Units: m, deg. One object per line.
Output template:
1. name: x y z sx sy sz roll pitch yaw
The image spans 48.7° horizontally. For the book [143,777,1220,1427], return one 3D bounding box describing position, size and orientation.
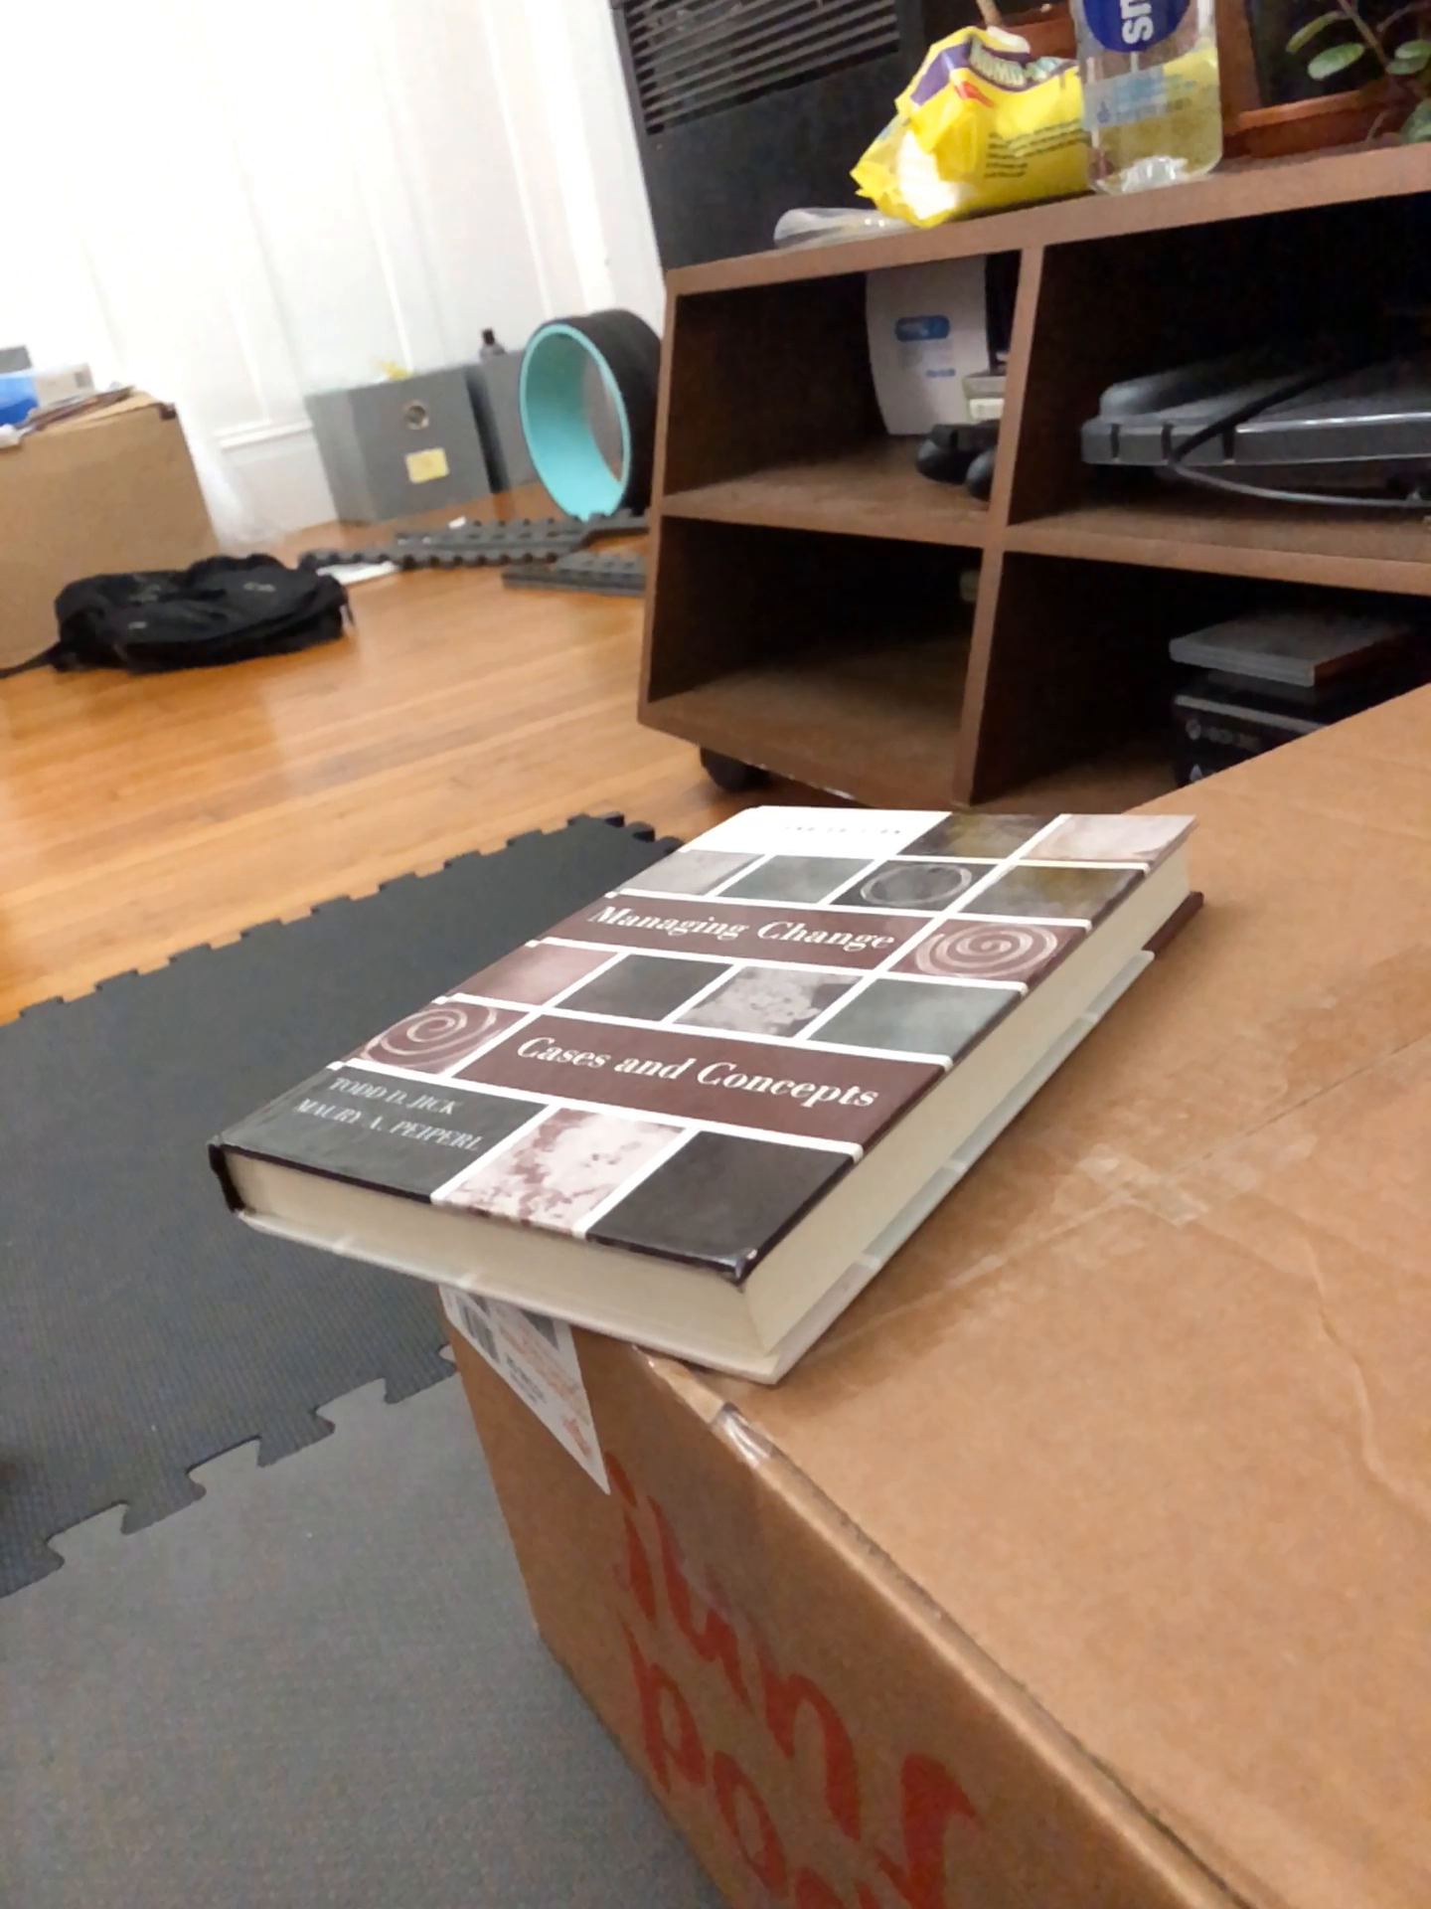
1. book: 0.005 0.012 0.430 0.180 0.030 0.251 7 29 36
